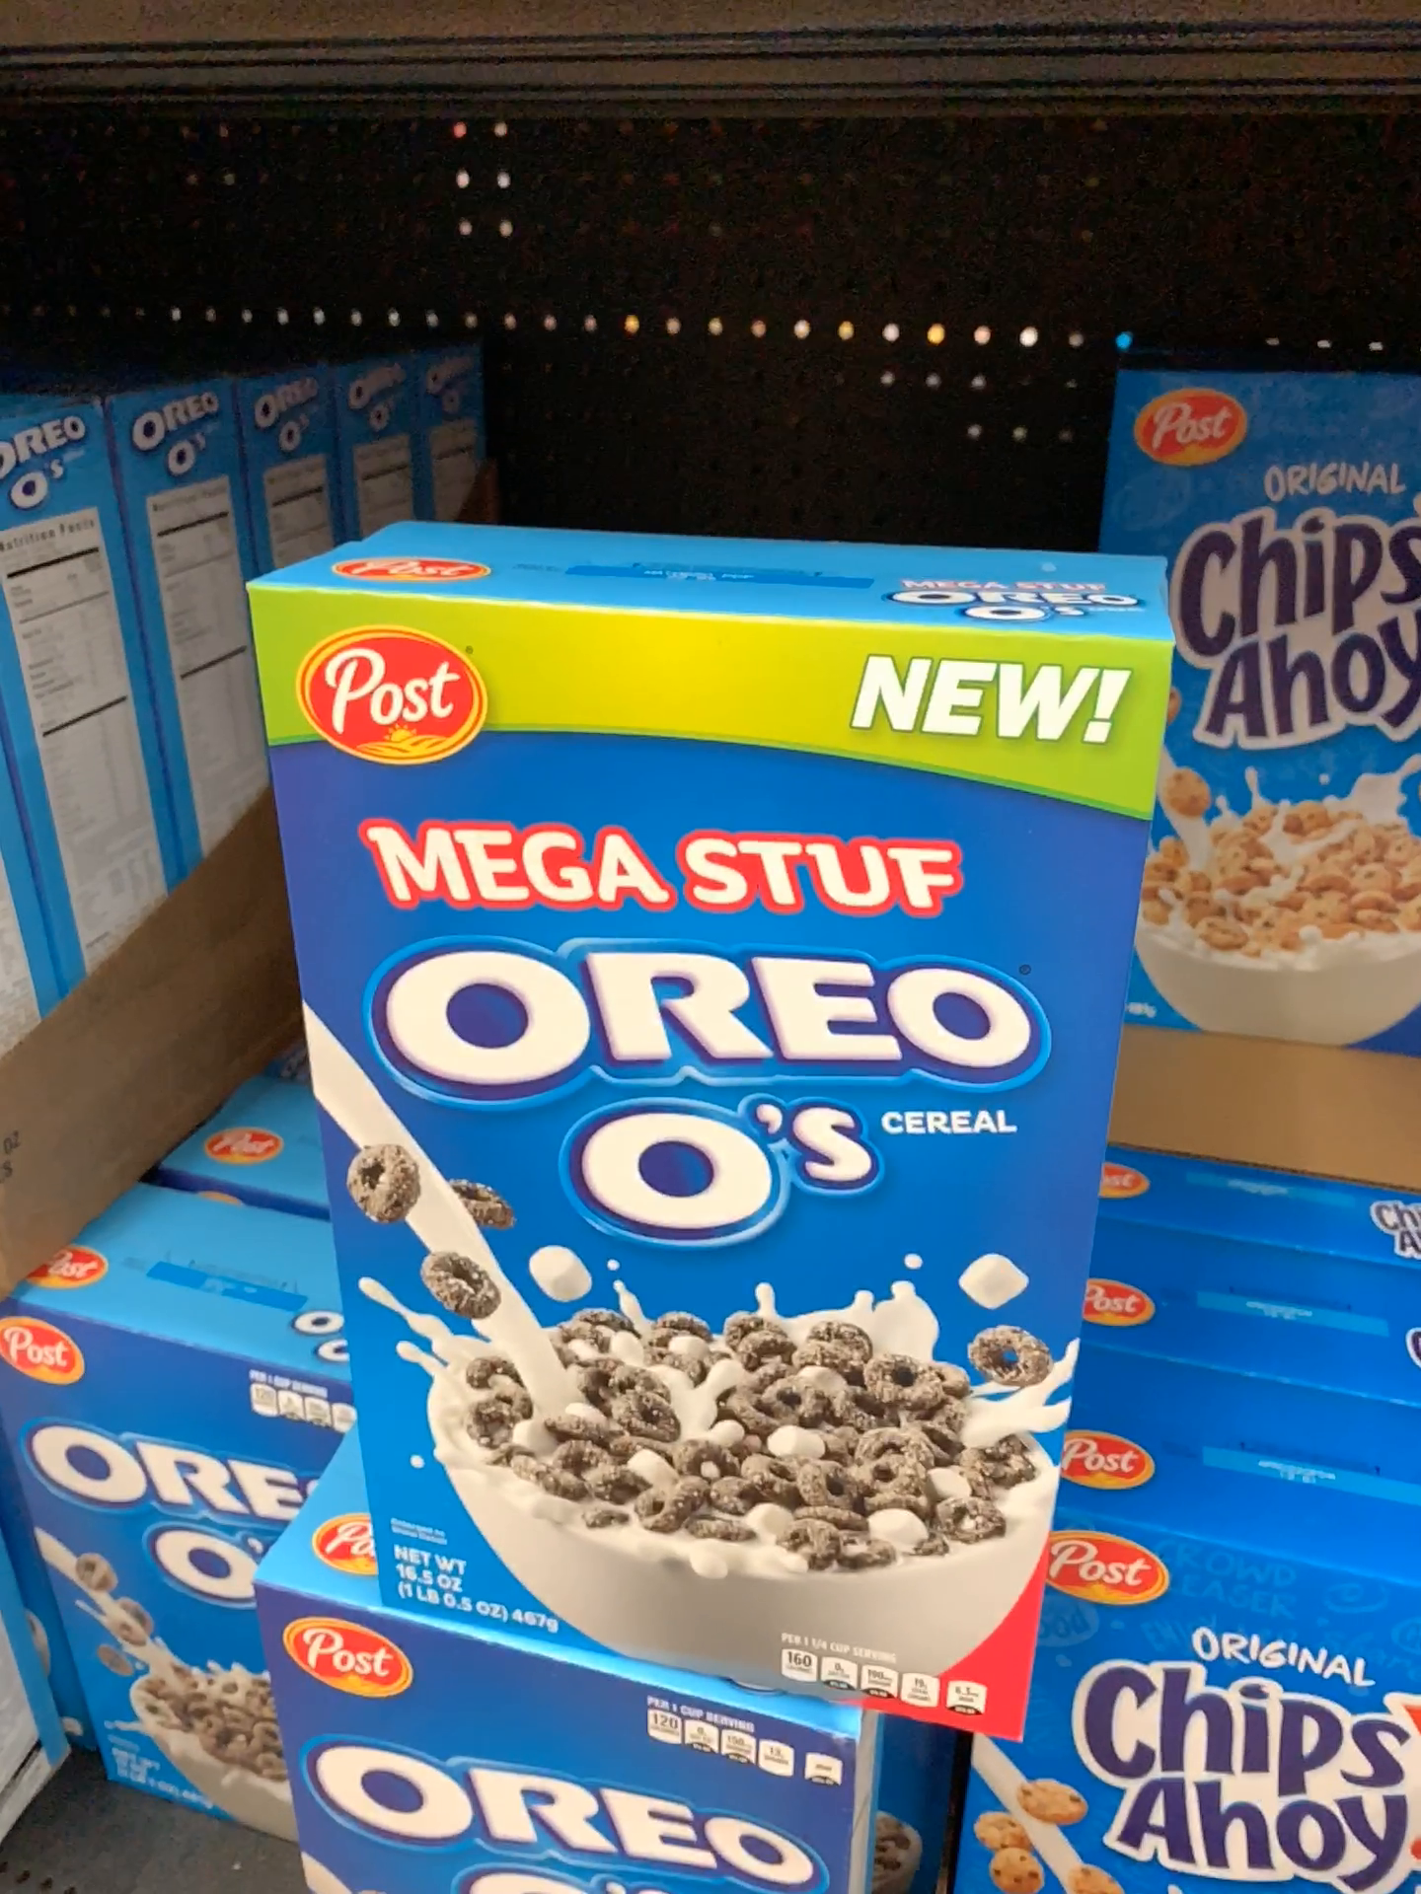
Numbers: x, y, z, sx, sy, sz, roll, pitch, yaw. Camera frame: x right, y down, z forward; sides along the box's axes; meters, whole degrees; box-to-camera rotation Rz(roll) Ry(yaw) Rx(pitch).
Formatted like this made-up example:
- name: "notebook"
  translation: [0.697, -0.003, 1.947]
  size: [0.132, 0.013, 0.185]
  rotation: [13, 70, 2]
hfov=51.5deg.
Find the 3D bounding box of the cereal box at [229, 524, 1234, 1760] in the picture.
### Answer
- name: "cereal box"
  translation: [0.004, 0.054, 0.384]
  size: [0.200, 0.299, 0.080]
  rotation: [6, 25, 11]
